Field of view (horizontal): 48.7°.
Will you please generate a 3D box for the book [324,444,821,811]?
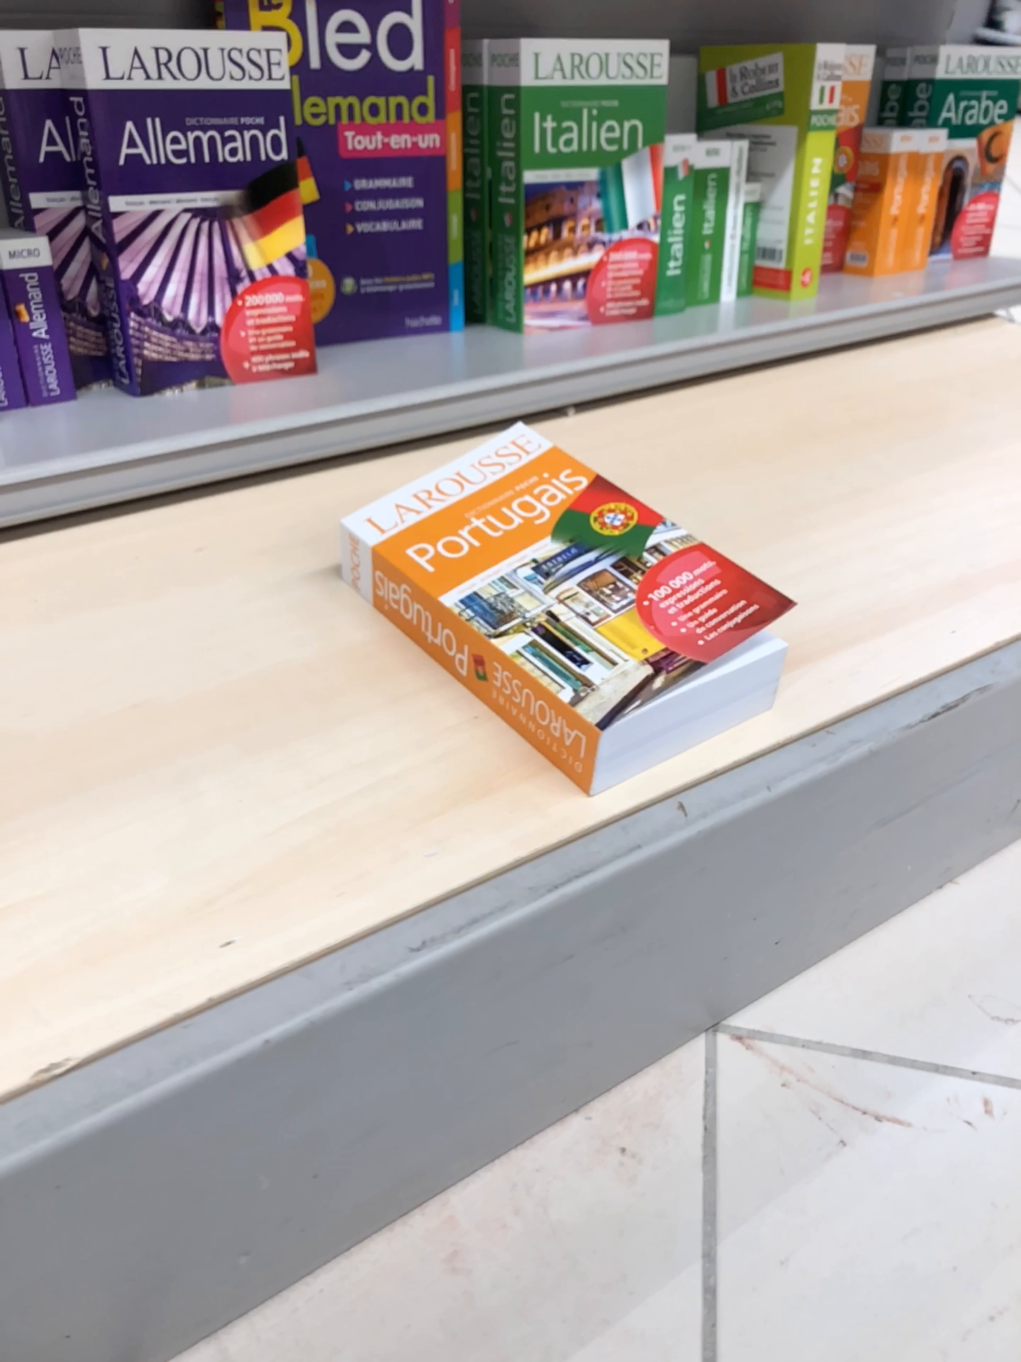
[{"bbox_3d":[0.020,-0.036,0.492,0.118,0.046,0.185,-22,45,-35],"label":"book"}]
